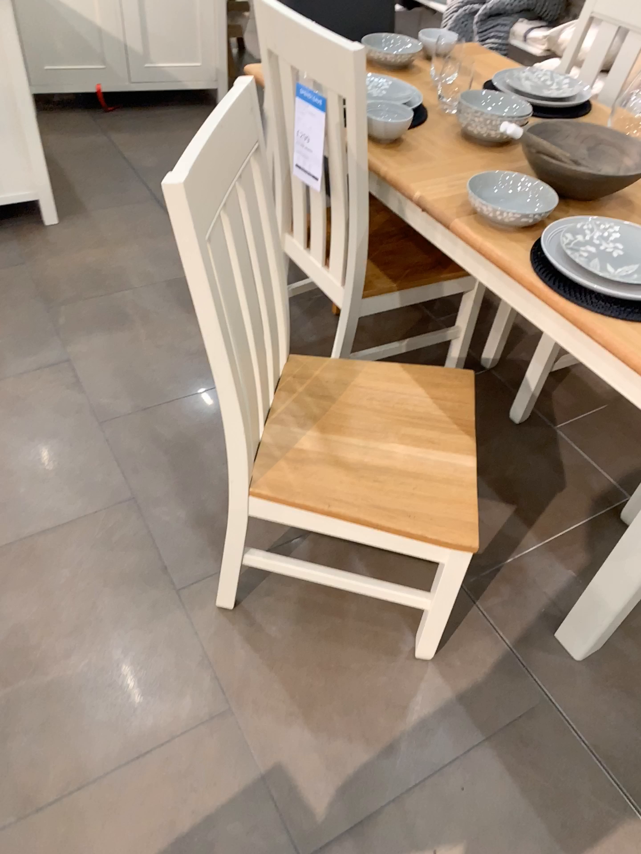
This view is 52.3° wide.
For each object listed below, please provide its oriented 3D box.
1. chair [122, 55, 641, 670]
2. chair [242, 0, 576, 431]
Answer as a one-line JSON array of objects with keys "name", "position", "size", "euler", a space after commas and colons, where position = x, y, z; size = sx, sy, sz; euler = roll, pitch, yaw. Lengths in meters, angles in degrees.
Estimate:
[{"name": "chair", "position": [0.059, -0.055, 1.185], "size": [0.546, 0.925, 0.506], "euler": [9, 45, 3]}, {"name": "chair", "position": [0.139, -0.546, 1.697], "size": [0.537, 0.925, 0.475], "euler": [-17, 49, -22]}]
